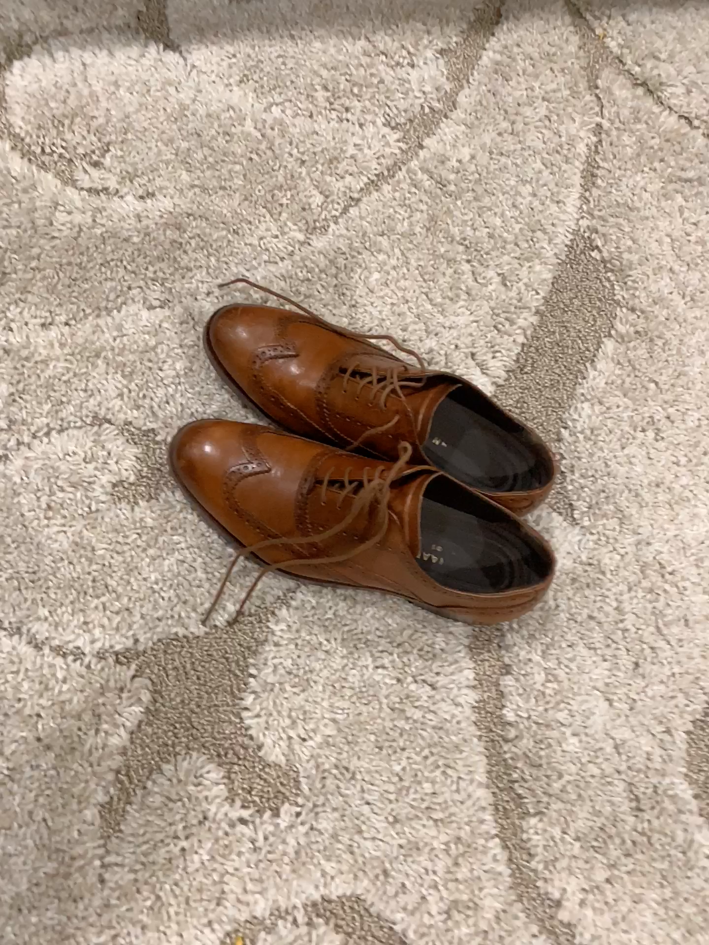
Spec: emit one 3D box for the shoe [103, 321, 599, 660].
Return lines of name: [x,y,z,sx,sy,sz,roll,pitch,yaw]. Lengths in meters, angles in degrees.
shoe: [-0.004,0.023,0.495,0.280,0.132,0.105,21,70,-1]

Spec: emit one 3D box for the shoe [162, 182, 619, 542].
shoe: [0.019,-0.071,0.531,0.282,0.132,0.105,25,70,1]
